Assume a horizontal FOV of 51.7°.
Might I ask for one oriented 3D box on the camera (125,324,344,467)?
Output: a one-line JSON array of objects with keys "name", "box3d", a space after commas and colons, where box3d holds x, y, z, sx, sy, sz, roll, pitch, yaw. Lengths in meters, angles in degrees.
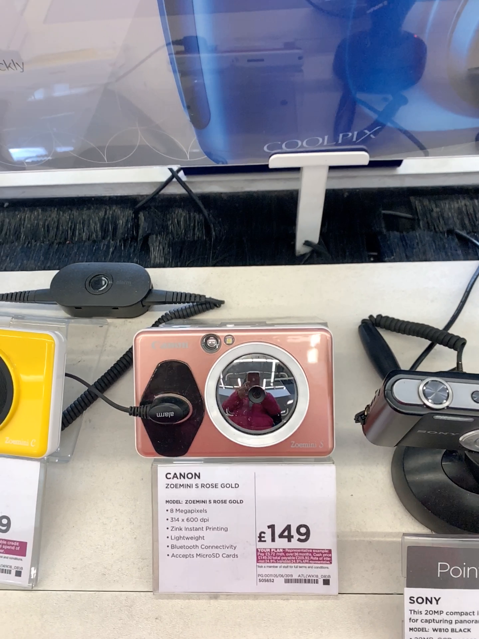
[{"name": "camera", "box3d": [-0.003, 0.046, 0.303, 0.129, 0.020, 0.083, -1, 92, 3]}]
